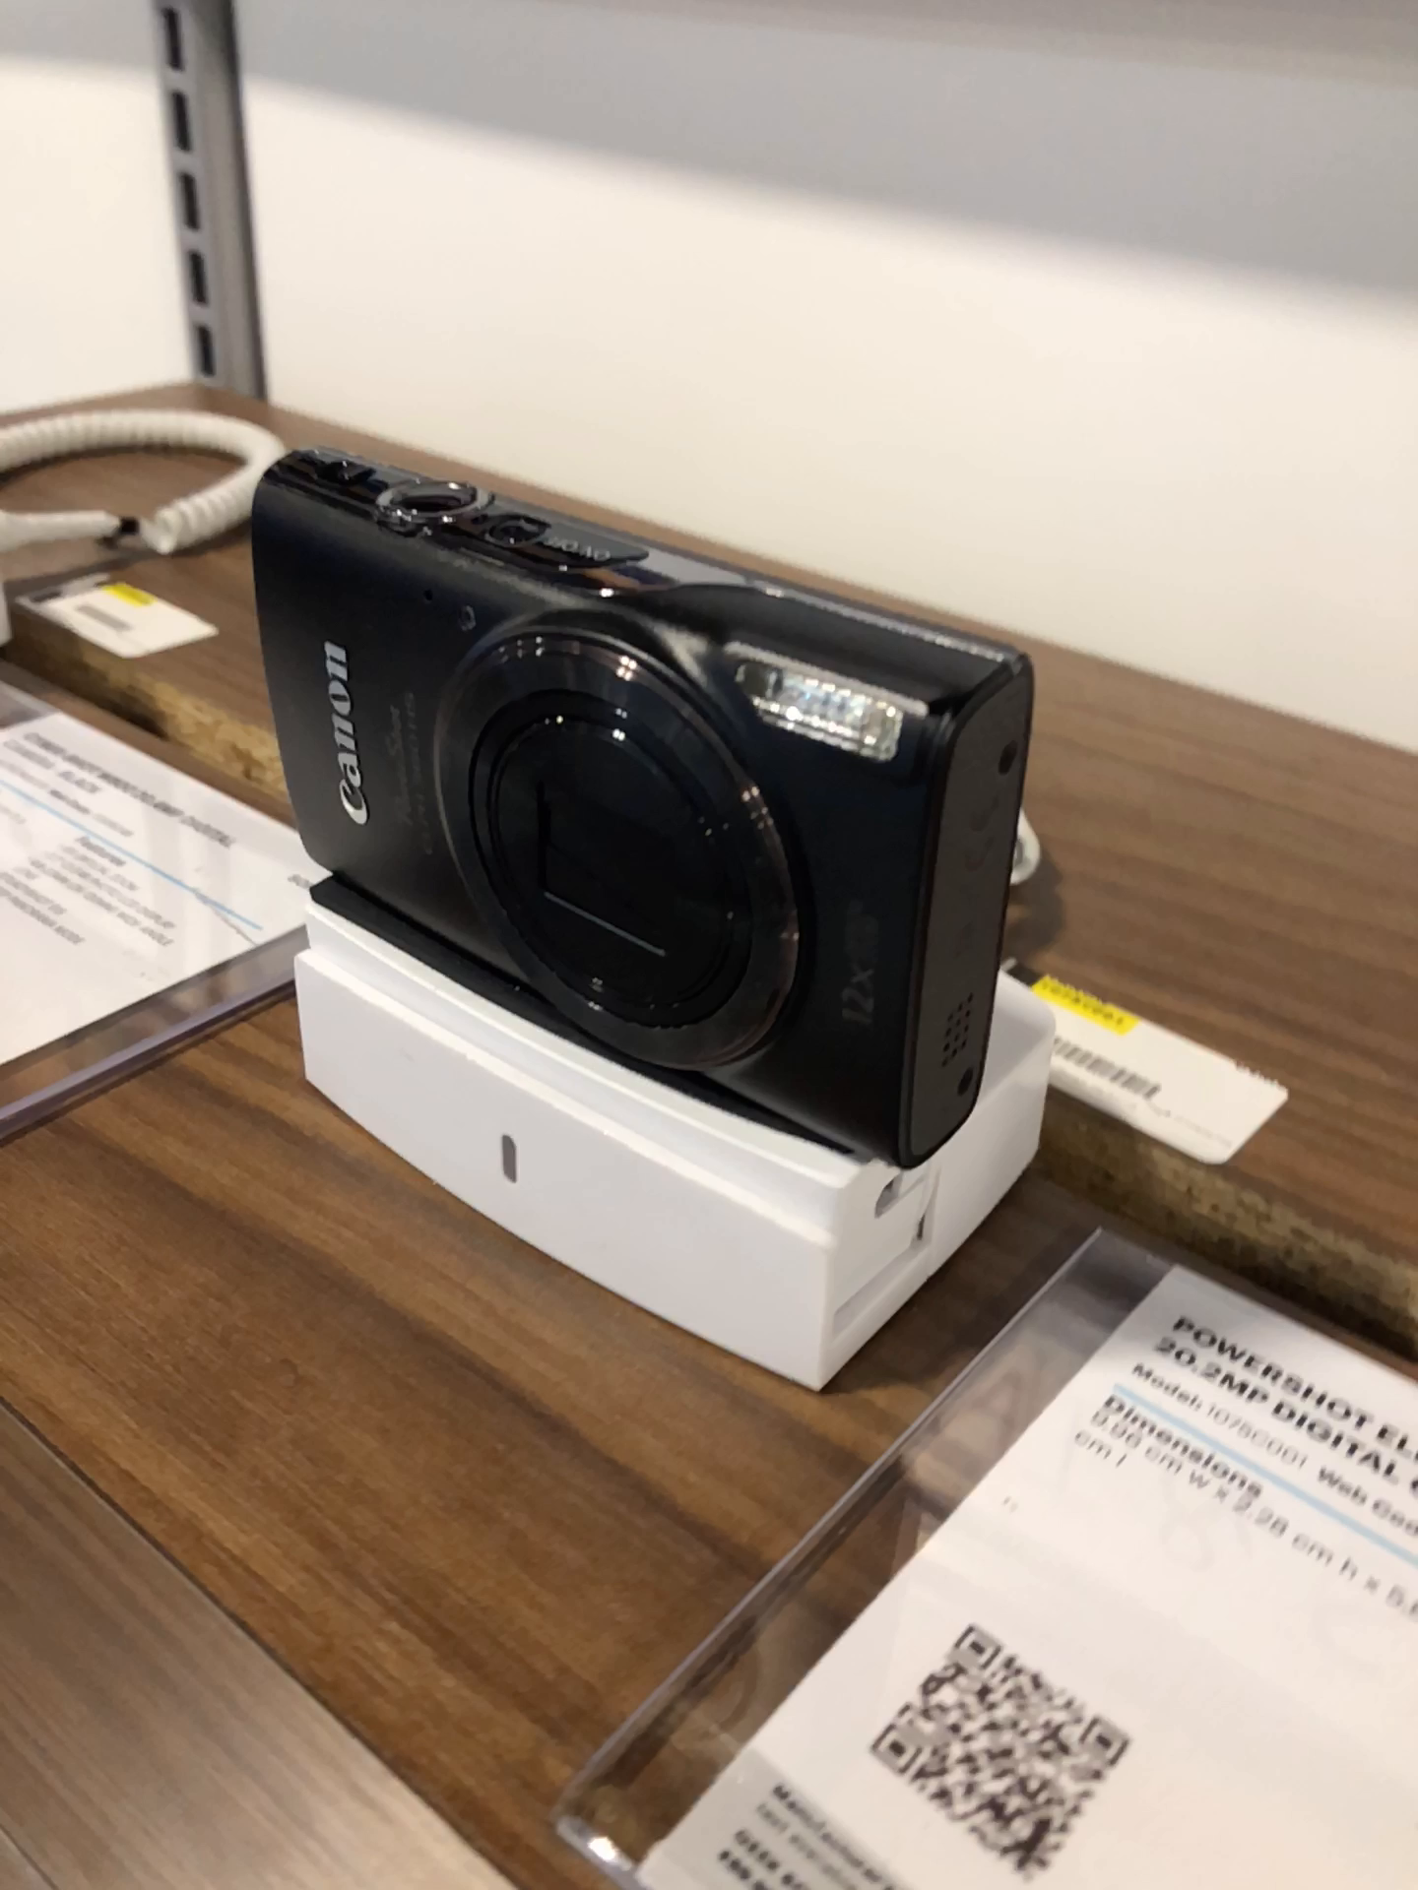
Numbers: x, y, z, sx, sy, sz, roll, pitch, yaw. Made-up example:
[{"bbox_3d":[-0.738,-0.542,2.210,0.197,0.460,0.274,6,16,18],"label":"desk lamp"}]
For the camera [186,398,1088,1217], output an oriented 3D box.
[{"bbox_3d":[-0.014,-0.021,0.183,0.100,0.060,0.030,24,36,31],"label":"camera"}]
